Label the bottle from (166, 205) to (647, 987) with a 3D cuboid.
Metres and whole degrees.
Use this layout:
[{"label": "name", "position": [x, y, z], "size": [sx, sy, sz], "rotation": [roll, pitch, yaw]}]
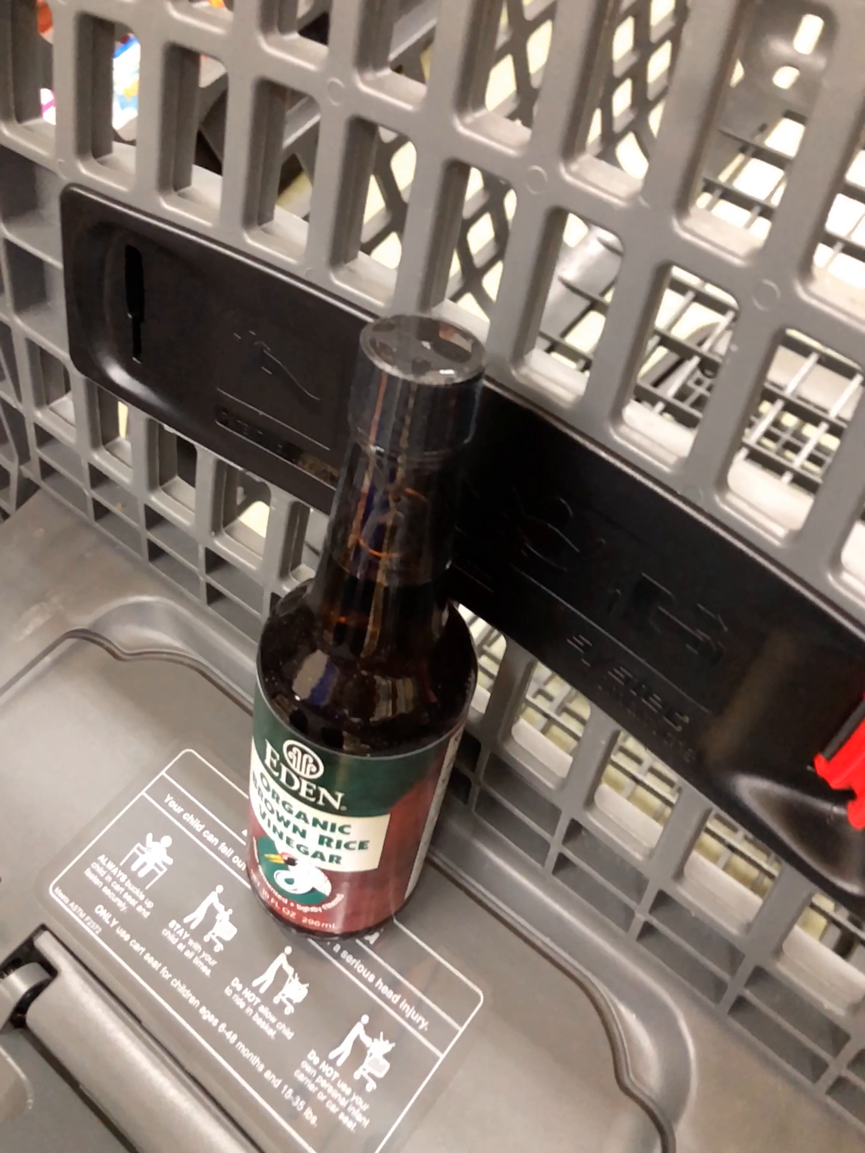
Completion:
[{"label": "bottle", "position": [-0.018, 0.014, 0.256], "size": [0.070, 0.190, 0.070], "rotation": [8, 38, -7]}]
